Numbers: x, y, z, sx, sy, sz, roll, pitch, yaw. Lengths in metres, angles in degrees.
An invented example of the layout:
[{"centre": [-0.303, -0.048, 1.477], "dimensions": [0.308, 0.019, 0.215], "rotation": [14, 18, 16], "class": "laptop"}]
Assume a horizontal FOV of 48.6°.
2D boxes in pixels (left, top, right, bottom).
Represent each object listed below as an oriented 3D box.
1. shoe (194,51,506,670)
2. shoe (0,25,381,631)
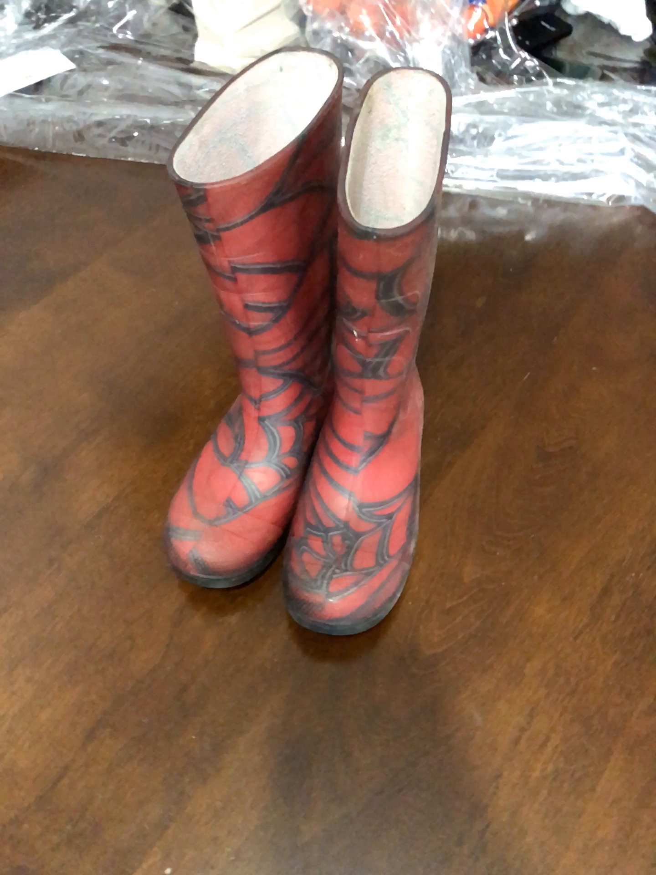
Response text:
[{"centre": [0.022, -0.029, 0.393], "dimensions": [0.080, 0.239, 0.221], "rotation": [11, 55, 9], "class": "shoe"}, {"centre": [-0.047, -0.049, 0.406], "dimensions": [0.080, 0.239, 0.220], "rotation": [16, 56, 12], "class": "shoe"}]
